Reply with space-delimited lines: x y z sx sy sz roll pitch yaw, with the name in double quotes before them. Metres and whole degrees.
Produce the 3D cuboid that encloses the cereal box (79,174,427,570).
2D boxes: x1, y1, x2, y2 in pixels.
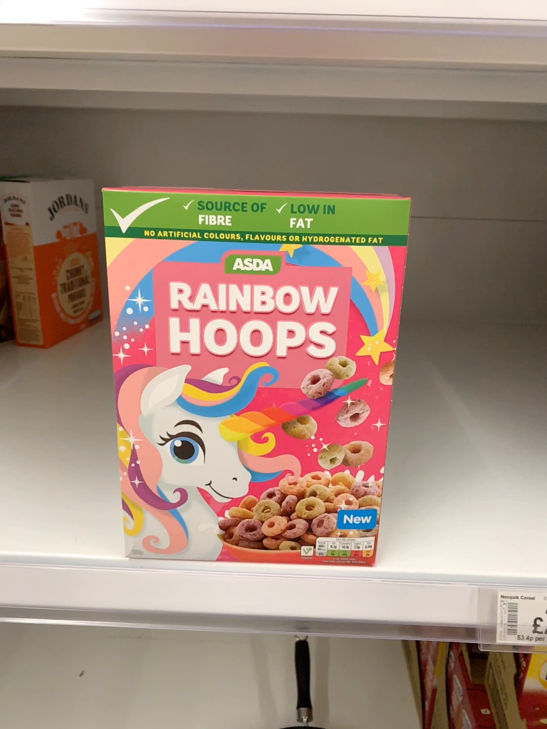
"cereal box" -0.016 0.011 0.414 0.210 0.278 0.060 2 19 0
